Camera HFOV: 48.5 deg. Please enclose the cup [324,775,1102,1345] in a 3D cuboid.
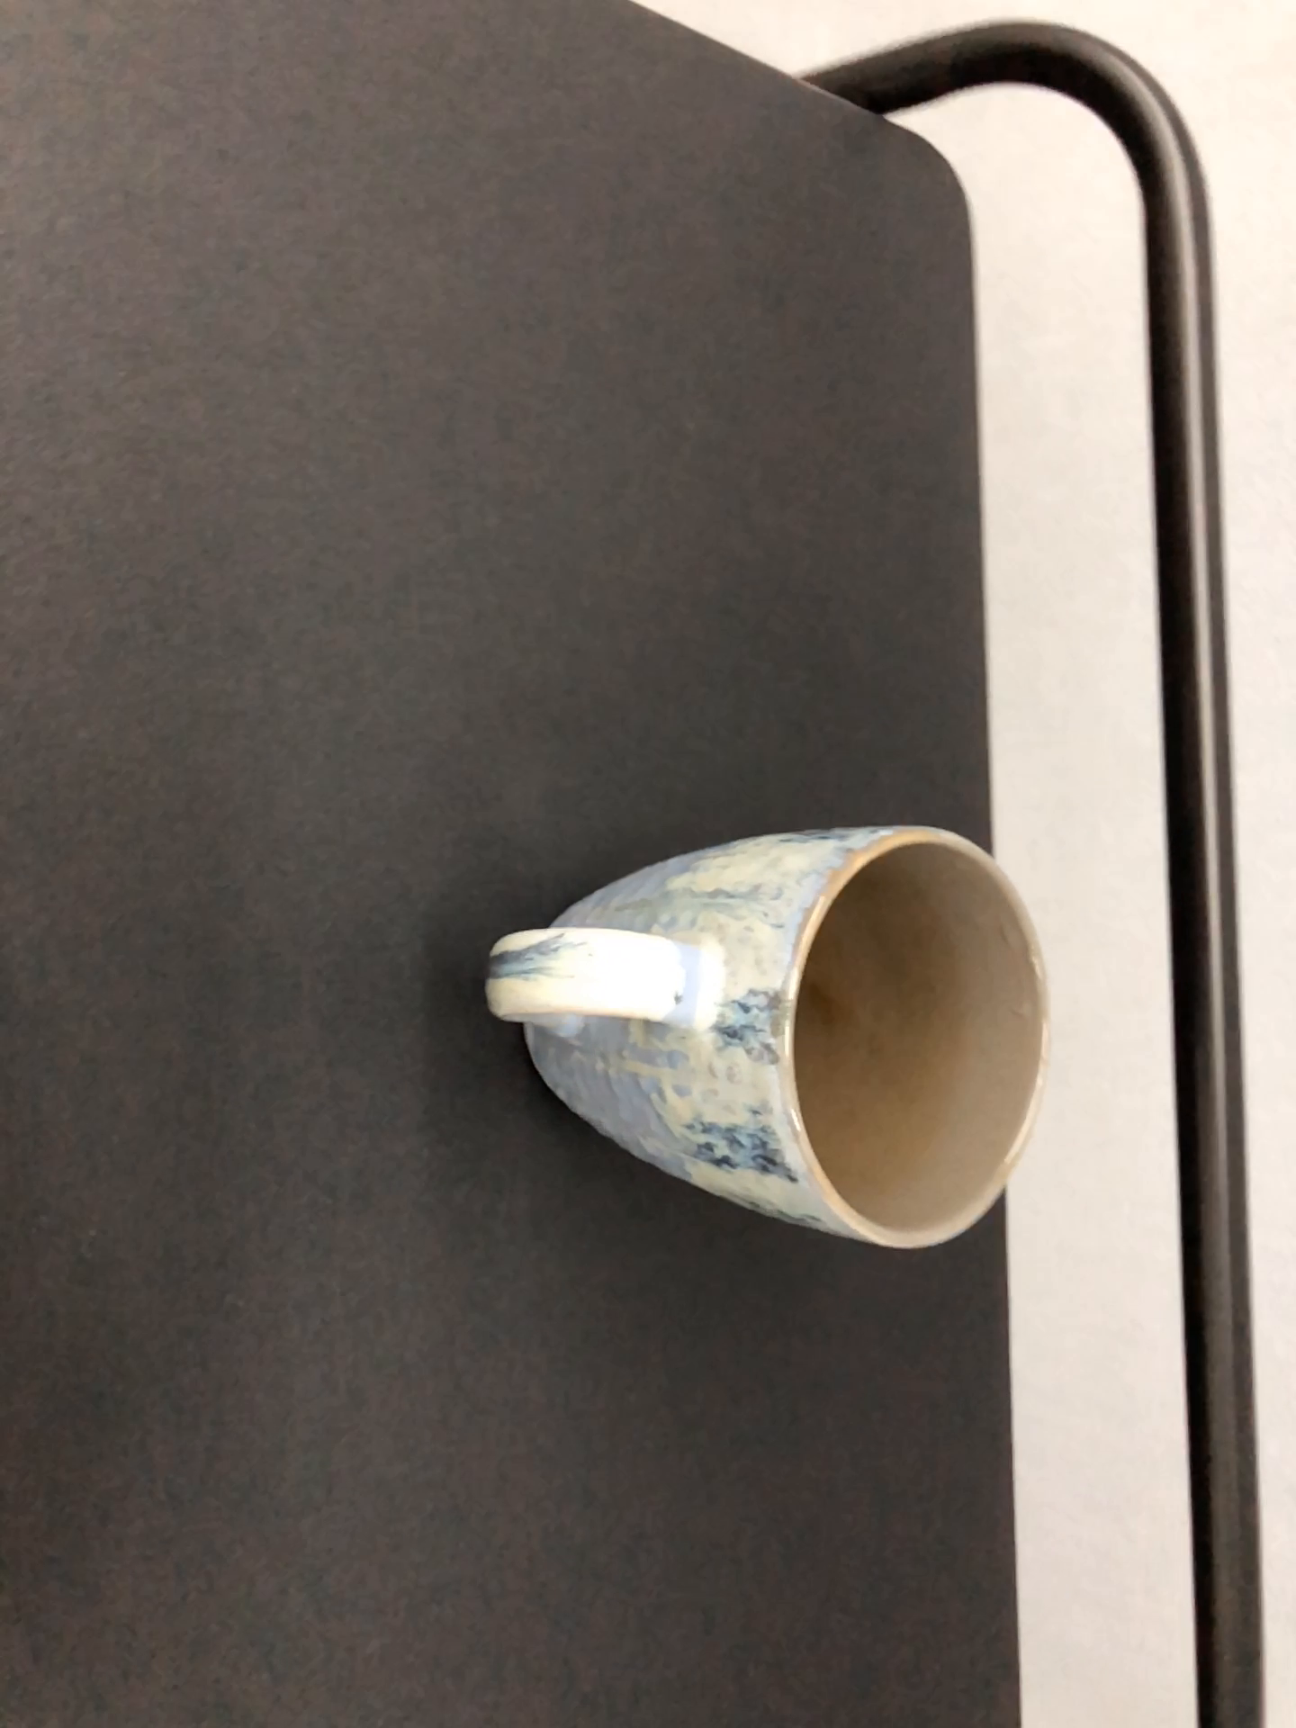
[{"bbox_3d":[0.015,0.038,0.306,0.121,0.107,0.089,8,82,-42],"label":"cup"}]
